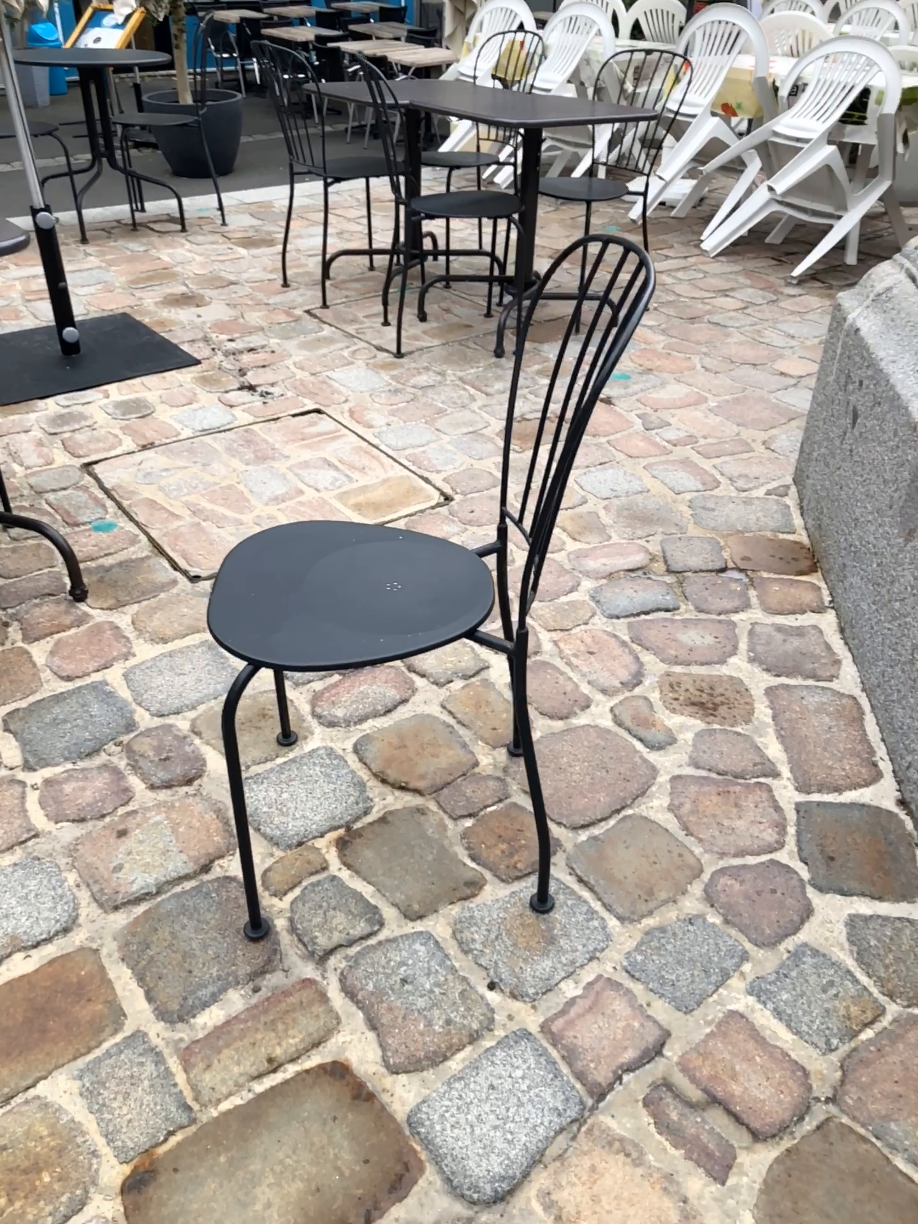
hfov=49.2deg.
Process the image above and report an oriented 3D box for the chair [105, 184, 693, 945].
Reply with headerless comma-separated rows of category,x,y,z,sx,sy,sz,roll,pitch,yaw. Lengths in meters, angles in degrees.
chair,-0.061,-0.040,1.197,0.470,0.795,0.423,0,34,-3
